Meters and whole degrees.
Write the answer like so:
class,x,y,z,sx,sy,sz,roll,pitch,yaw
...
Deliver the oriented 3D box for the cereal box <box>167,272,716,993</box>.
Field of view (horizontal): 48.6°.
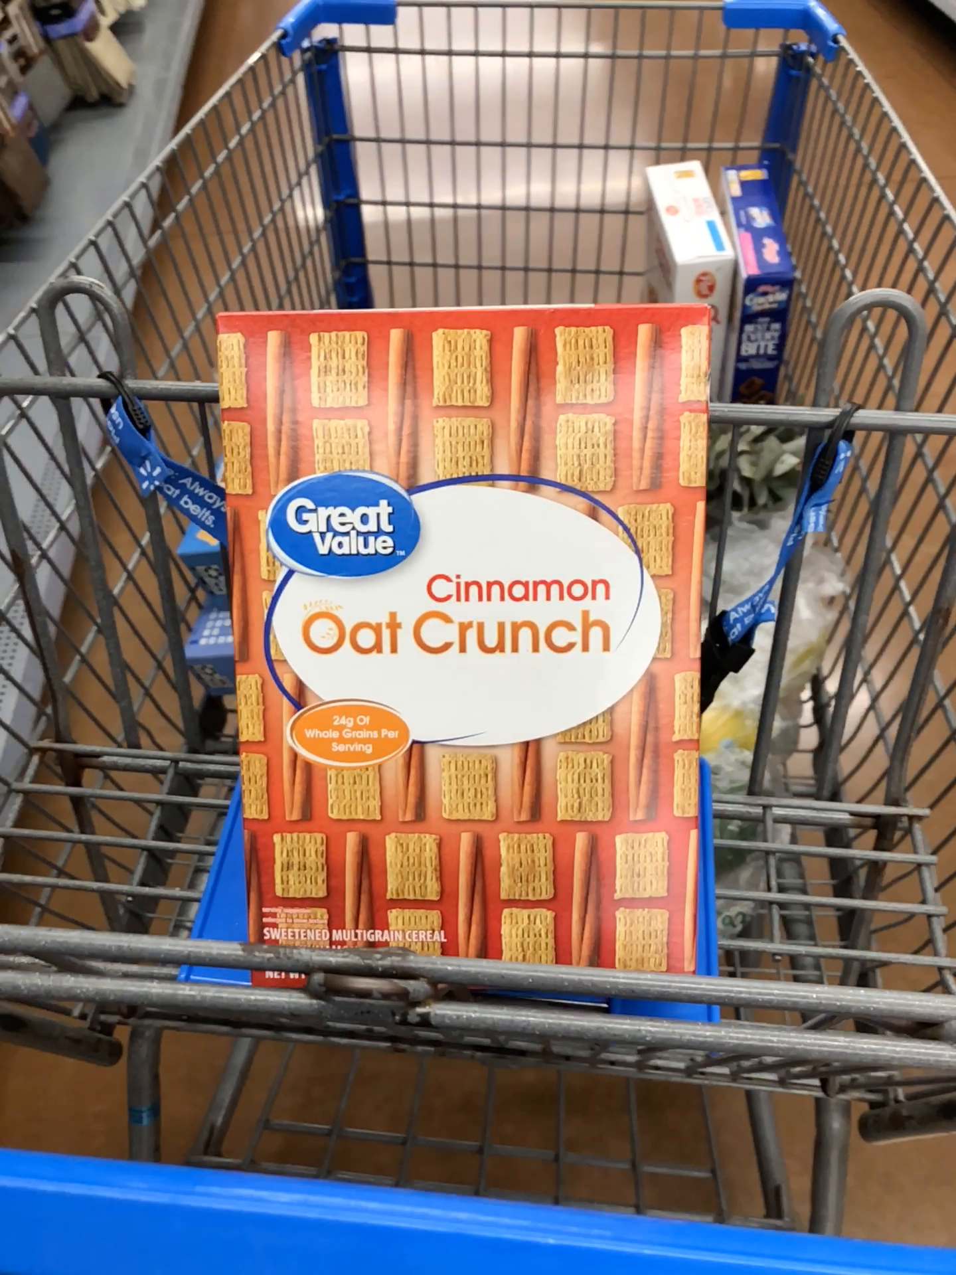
class,x,y,z,sx,sy,sz,roll,pitch,yaw
cereal box,-0.012,0.000,0.443,0.200,0.280,0.070,0,10,2
